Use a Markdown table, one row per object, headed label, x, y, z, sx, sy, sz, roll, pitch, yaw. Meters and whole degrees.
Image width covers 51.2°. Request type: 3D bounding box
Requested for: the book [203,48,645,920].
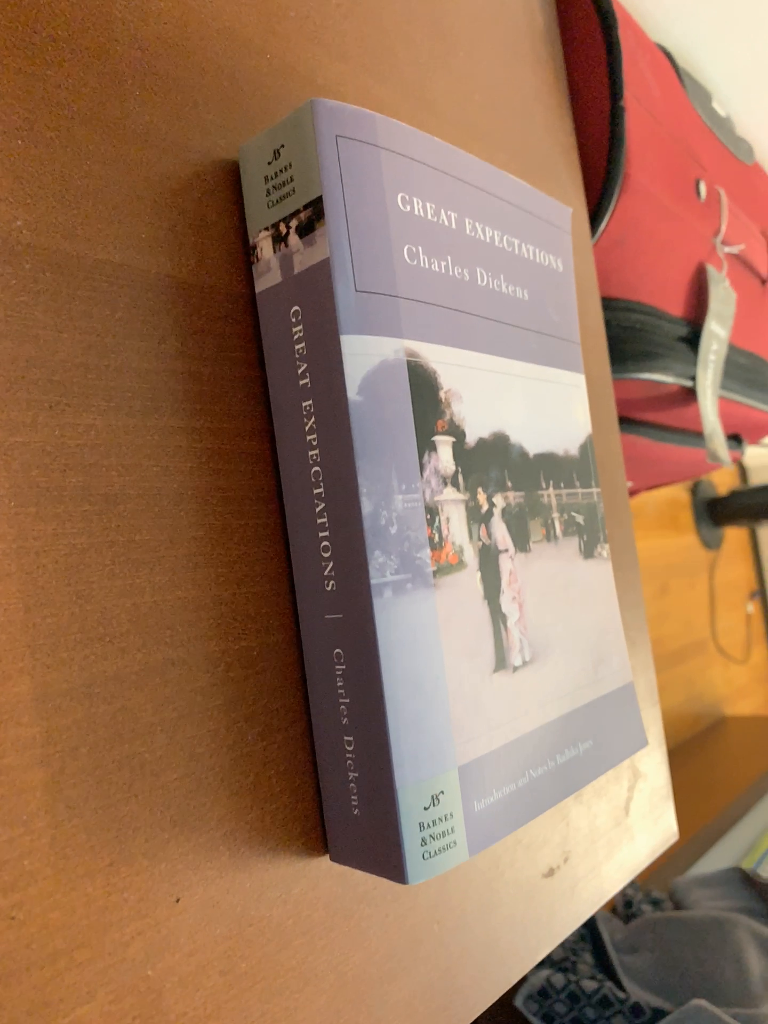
| label | x | y | z | sx | sy | sz | roll | pitch | yaw |
| --- | --- | --- | --- | --- | --- | --- | --- | --- | --- |
| book | 0.023 | -0.010 | 0.250 | 0.141 | 0.040 | 0.200 | -5 | 88 | -51 |
